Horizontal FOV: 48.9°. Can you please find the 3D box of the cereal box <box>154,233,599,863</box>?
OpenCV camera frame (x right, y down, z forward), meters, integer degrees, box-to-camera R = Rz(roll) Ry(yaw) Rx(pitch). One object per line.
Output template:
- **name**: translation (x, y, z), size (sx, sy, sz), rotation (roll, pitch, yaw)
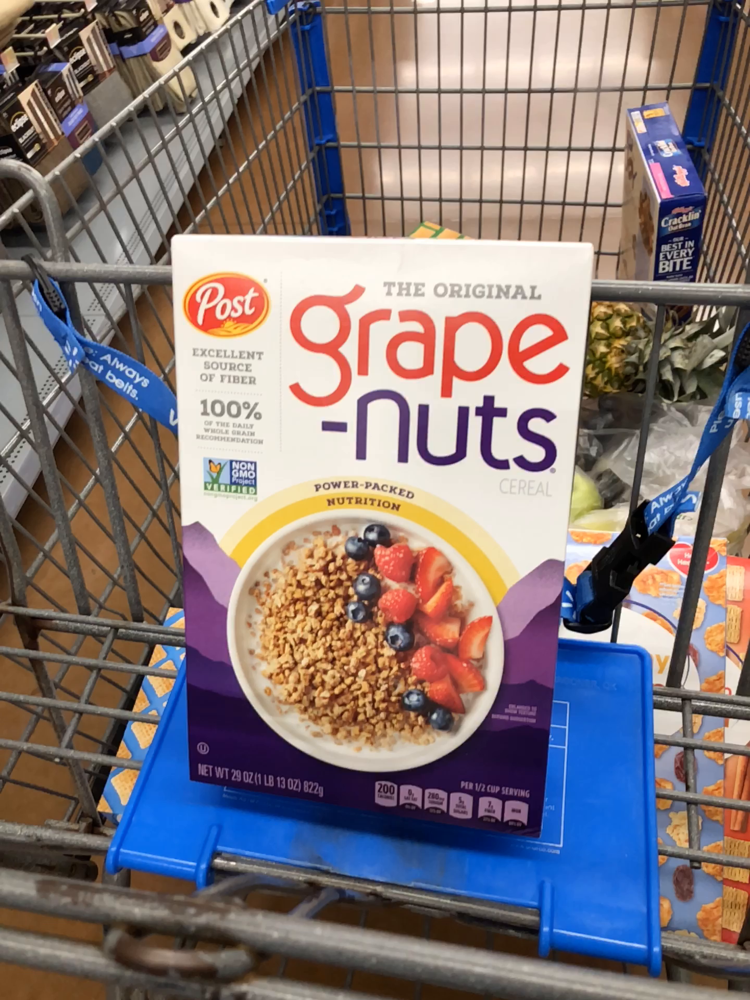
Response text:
- **cereal box**: translation (-0.004, 0.018, 0.360), size (0.170, 0.250, 0.050), rotation (5, 14, 12)
